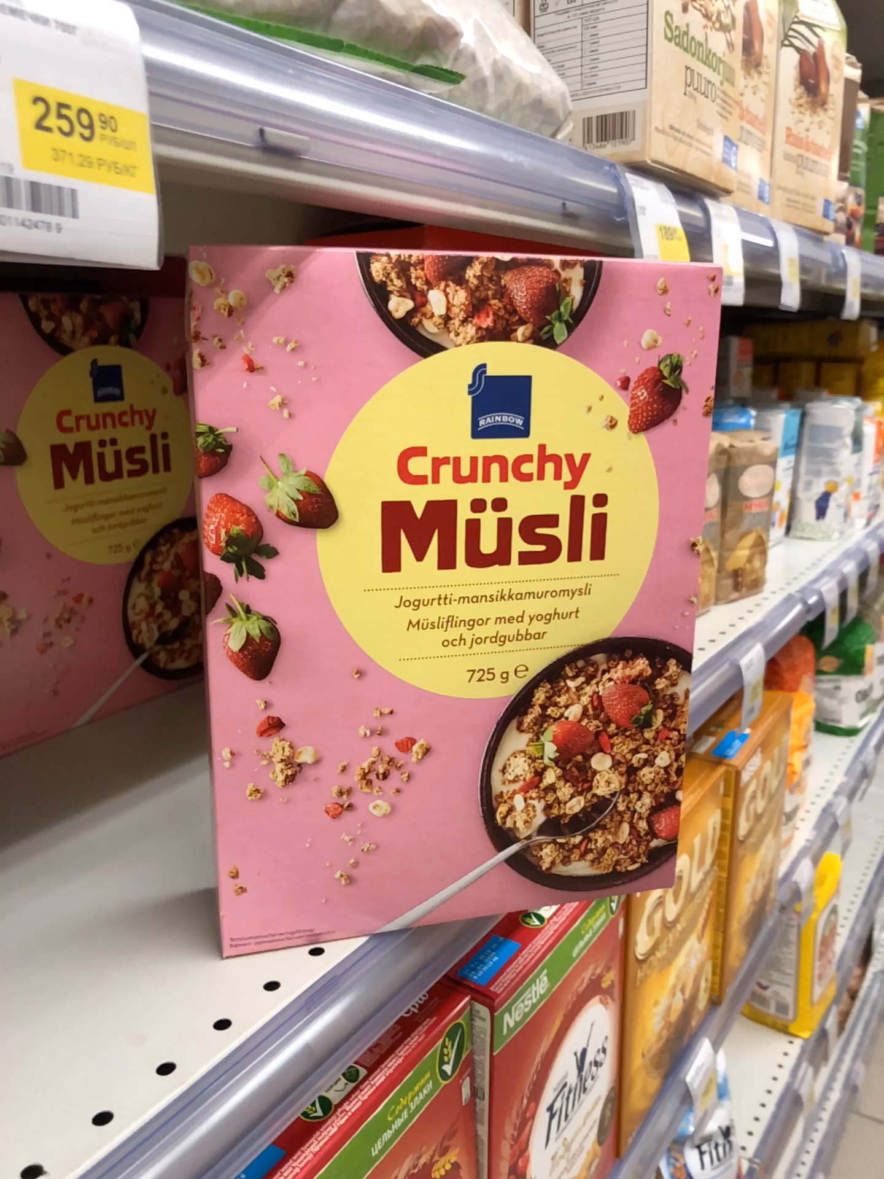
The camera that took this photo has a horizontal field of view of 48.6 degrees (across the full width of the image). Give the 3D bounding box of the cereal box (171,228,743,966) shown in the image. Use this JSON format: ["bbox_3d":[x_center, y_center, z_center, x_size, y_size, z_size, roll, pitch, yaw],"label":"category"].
[{"bbox_3d":[0.003,0.001,0.388,0.200,0.259,0.060,-3,15,-16],"label":"cereal box"}]
